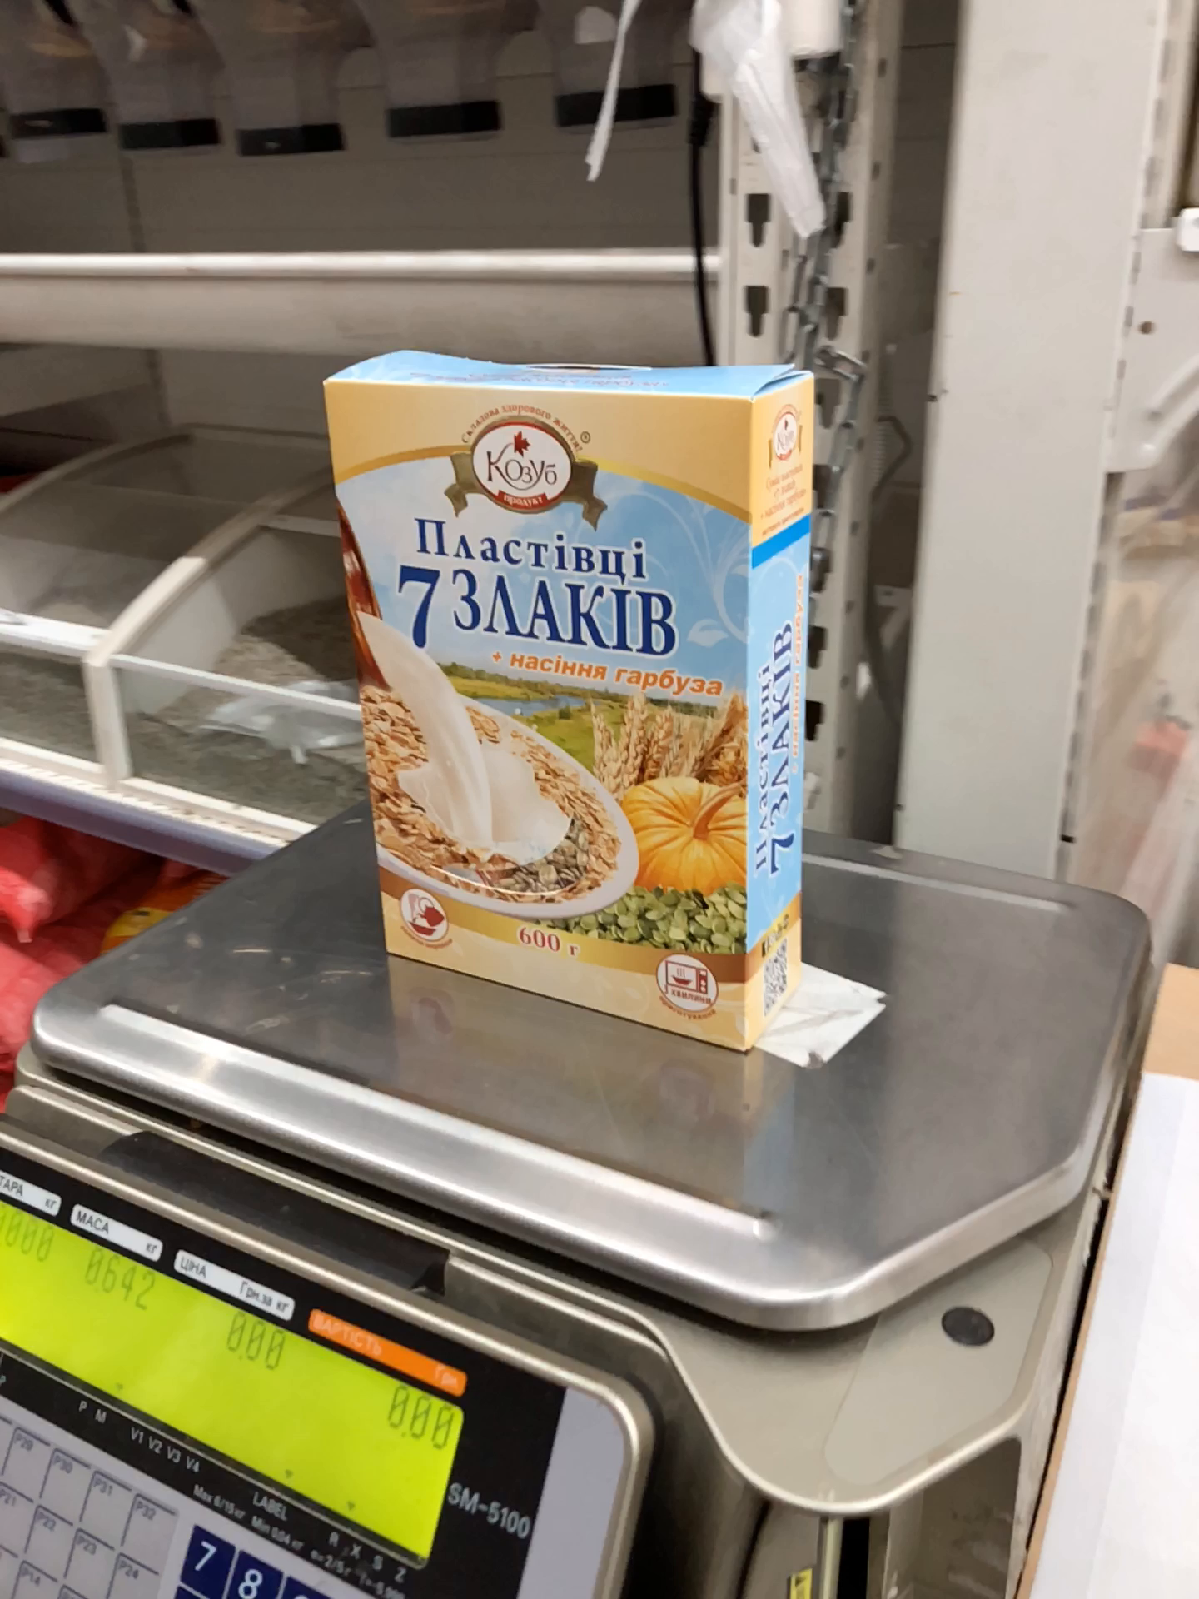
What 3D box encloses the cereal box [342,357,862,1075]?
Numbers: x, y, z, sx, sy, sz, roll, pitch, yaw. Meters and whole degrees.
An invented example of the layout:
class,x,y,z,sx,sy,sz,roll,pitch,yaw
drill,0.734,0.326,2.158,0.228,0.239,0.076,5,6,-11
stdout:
class,x,y,z,sx,sy,sz,roll,pitch,yaw
cereal box,0.001,-0.034,0.475,0.160,0.228,0.060,12,28,27
